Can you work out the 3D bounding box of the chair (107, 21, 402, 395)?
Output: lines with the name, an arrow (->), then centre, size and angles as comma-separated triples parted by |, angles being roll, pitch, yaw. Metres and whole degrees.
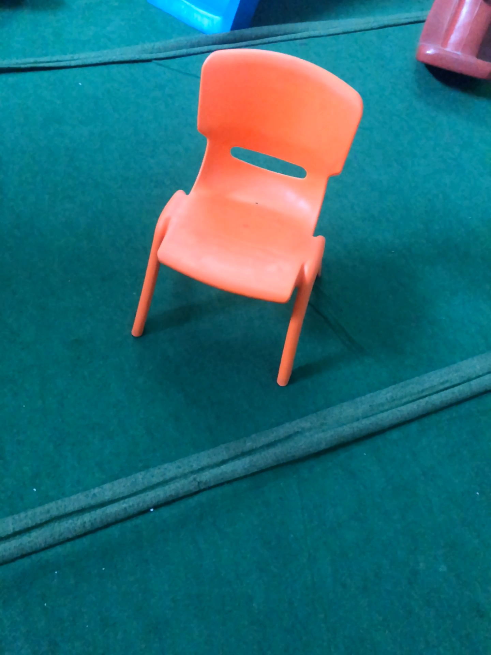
chair -> 0.009, -0.200, 1.032 | 0.360, 0.479, 0.391 | 19, 56, 4
